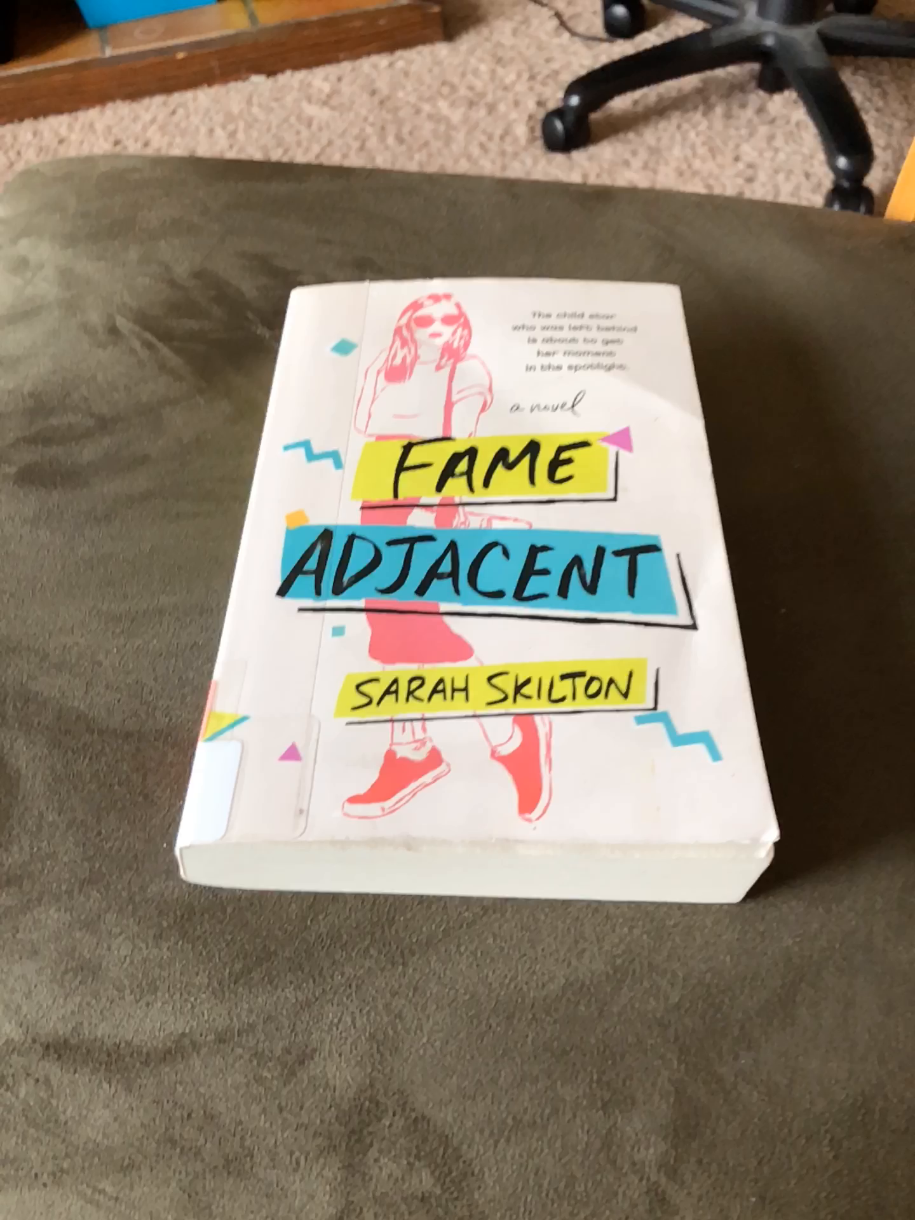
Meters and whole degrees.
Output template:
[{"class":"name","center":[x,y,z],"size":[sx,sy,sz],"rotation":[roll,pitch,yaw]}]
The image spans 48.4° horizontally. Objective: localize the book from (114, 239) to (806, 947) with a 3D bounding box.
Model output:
[{"class":"book","center":[0.004,-0.023,0.288],"size":[0.140,0.040,0.220],"rotation":[0,53,3]}]
